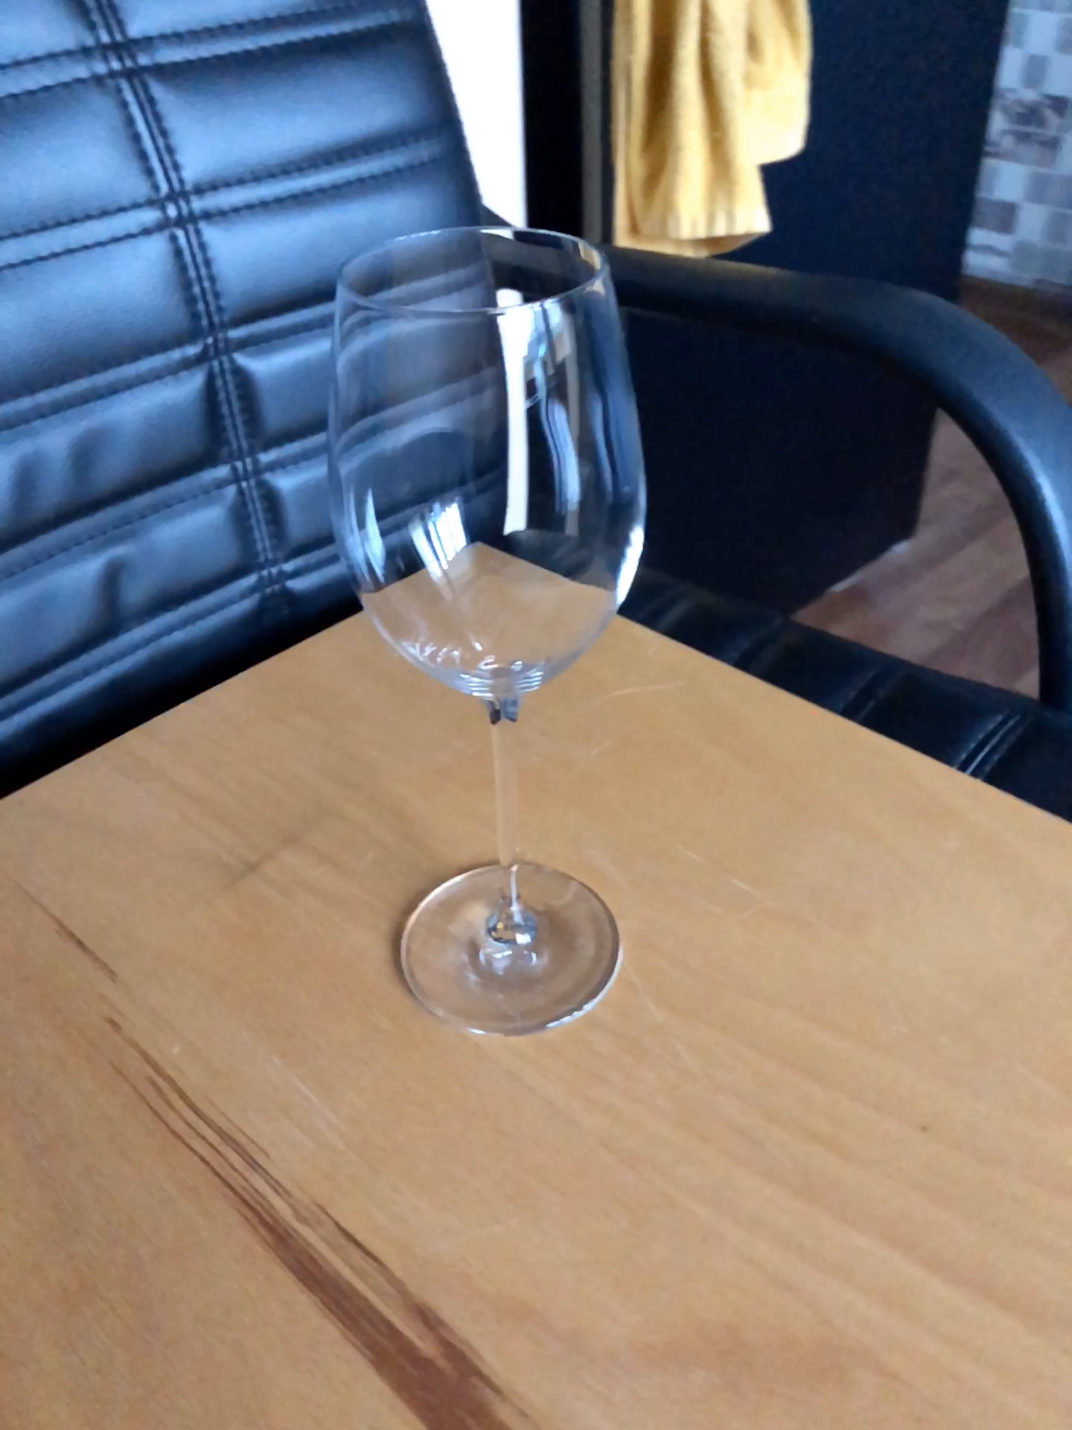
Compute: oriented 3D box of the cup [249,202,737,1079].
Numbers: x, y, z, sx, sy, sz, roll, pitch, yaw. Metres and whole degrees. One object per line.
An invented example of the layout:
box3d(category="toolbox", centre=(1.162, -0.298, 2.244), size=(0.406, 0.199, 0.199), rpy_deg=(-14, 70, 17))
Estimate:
box3d(category="cup", centre=(-0.013, -0.013, 0.329), size=(0.089, 0.218, 0.090), rpy_deg=(-1, 37, 1))
